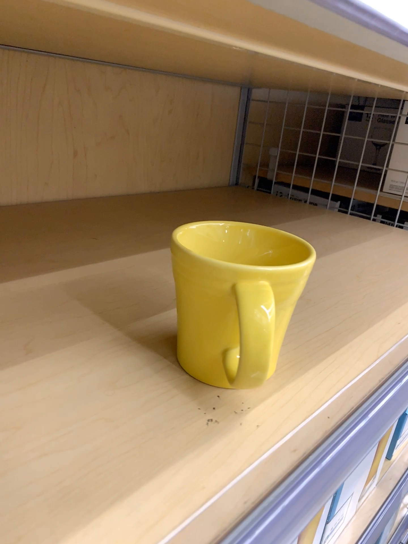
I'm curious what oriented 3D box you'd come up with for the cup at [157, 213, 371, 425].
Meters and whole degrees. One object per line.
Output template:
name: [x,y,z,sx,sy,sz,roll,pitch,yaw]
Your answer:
cup: [0.024,0.022,0.297,0.103,0.088,0.140,2,22,-10]
